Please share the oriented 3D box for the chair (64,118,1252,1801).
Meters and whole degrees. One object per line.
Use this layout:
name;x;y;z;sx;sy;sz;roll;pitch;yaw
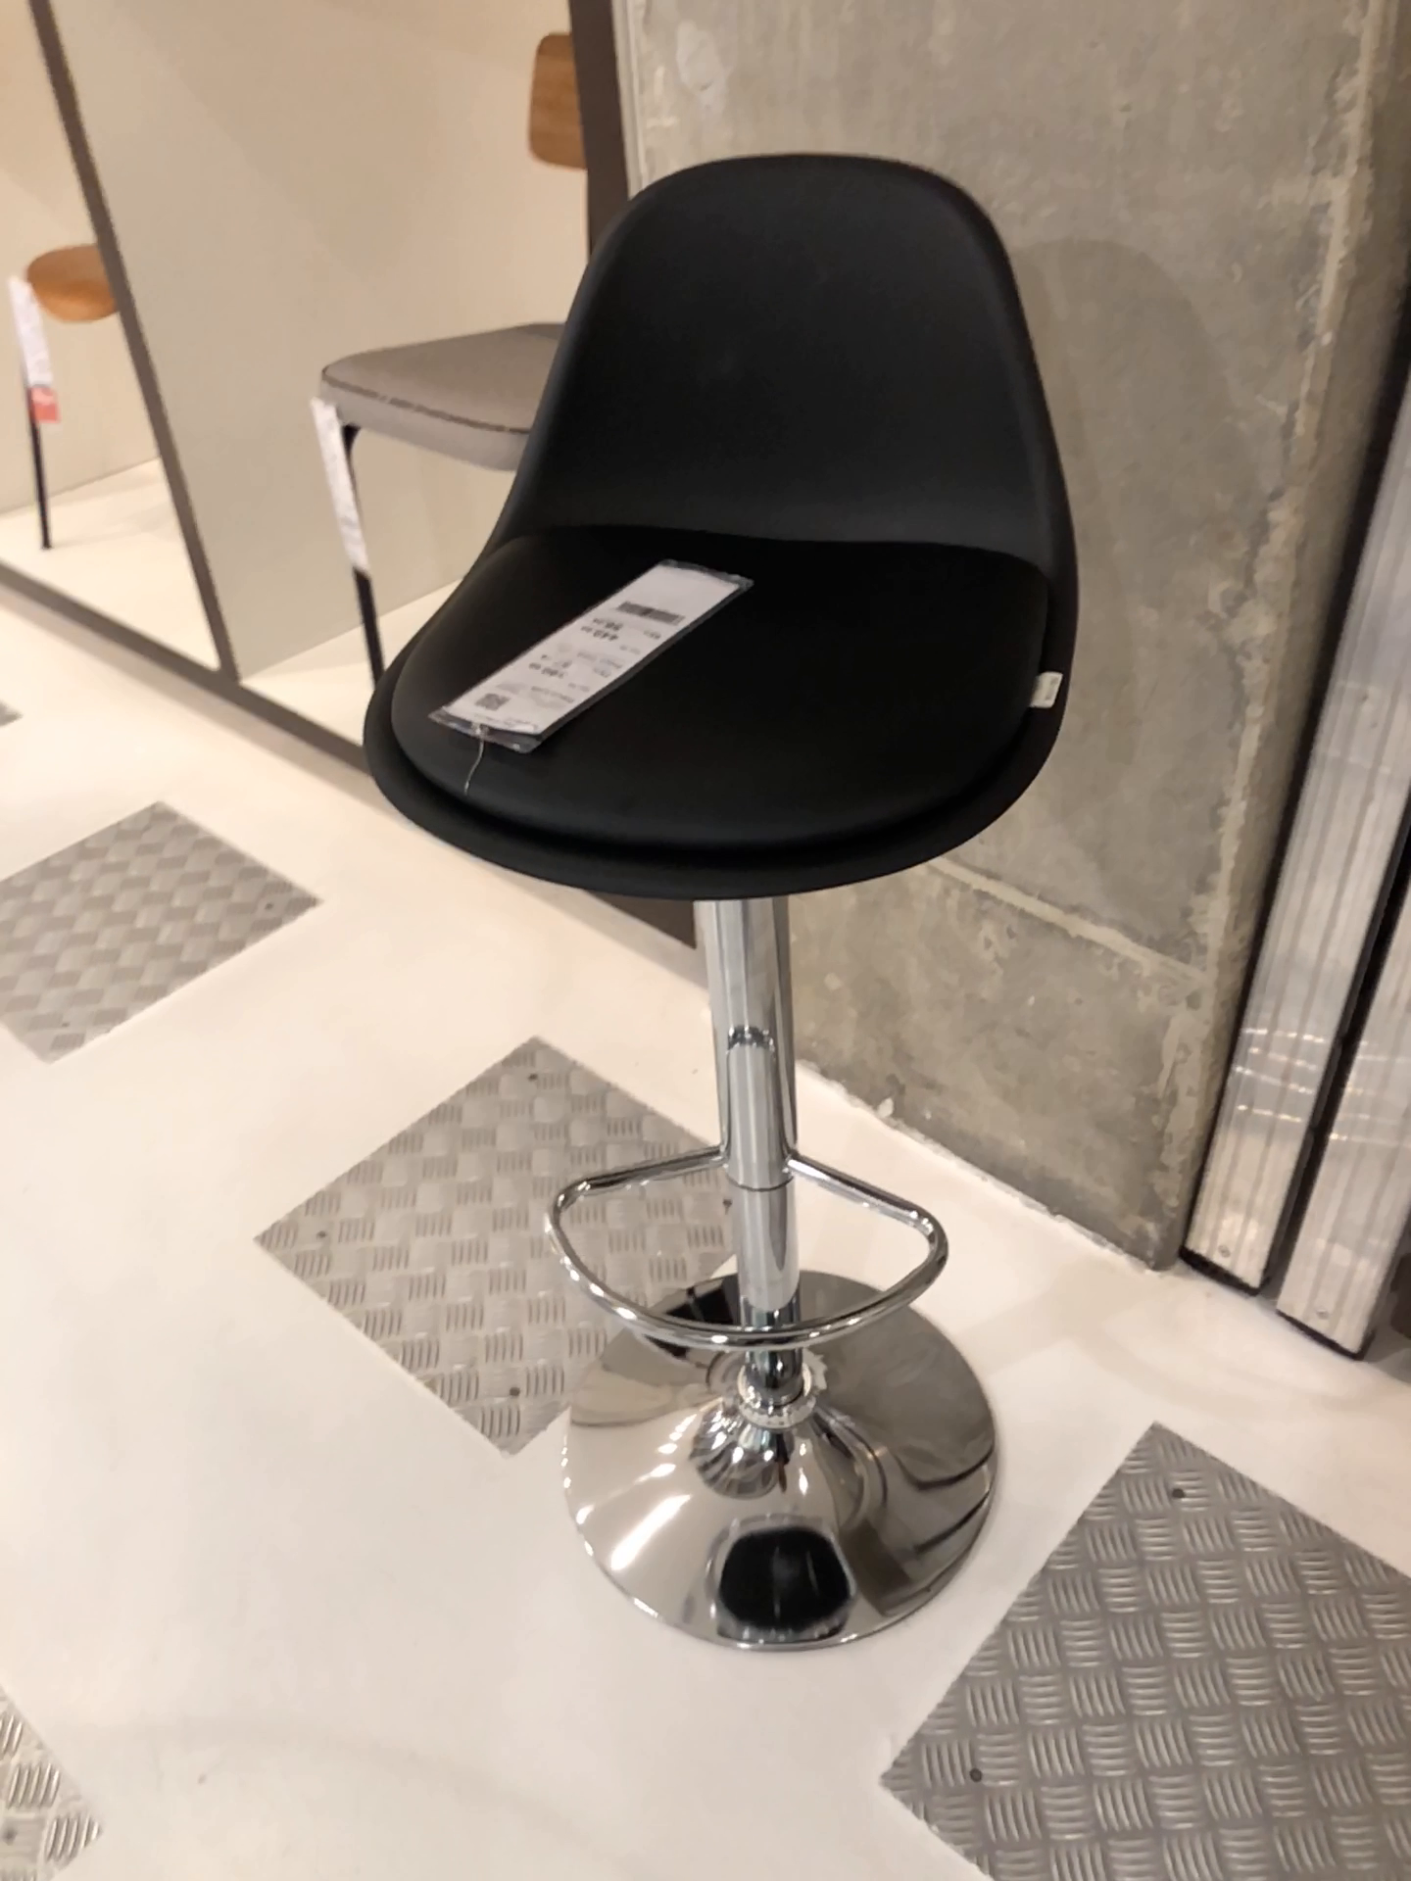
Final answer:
chair;0.044;0.053;1.064;0.430;1.012;0.473;11;41;18
